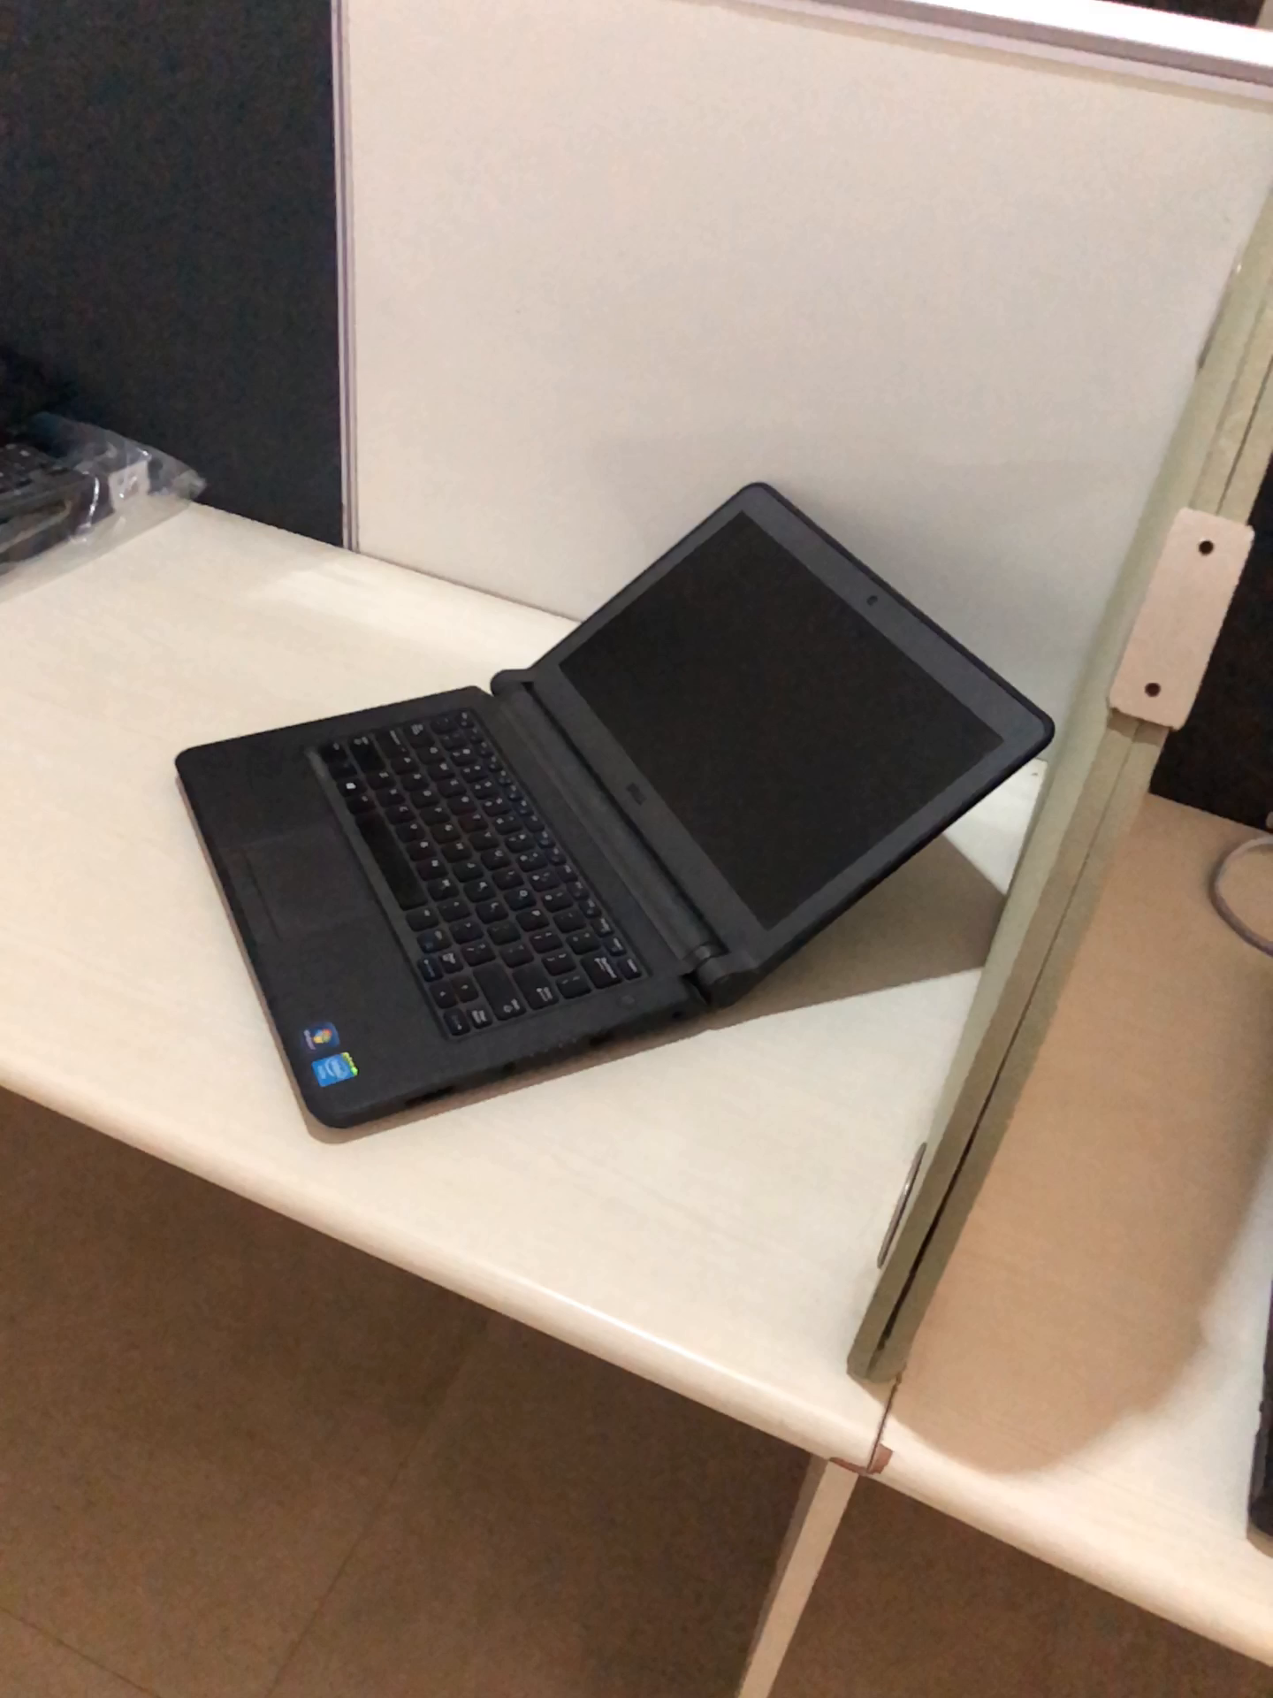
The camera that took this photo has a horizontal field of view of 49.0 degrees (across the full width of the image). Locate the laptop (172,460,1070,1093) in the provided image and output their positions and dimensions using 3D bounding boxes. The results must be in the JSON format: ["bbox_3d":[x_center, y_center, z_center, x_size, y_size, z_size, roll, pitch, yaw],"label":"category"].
[{"bbox_3d":[-0.028,-0.073,0.798,0.394,0.128,0.311,-15,42,-21],"label":"laptop"}]
